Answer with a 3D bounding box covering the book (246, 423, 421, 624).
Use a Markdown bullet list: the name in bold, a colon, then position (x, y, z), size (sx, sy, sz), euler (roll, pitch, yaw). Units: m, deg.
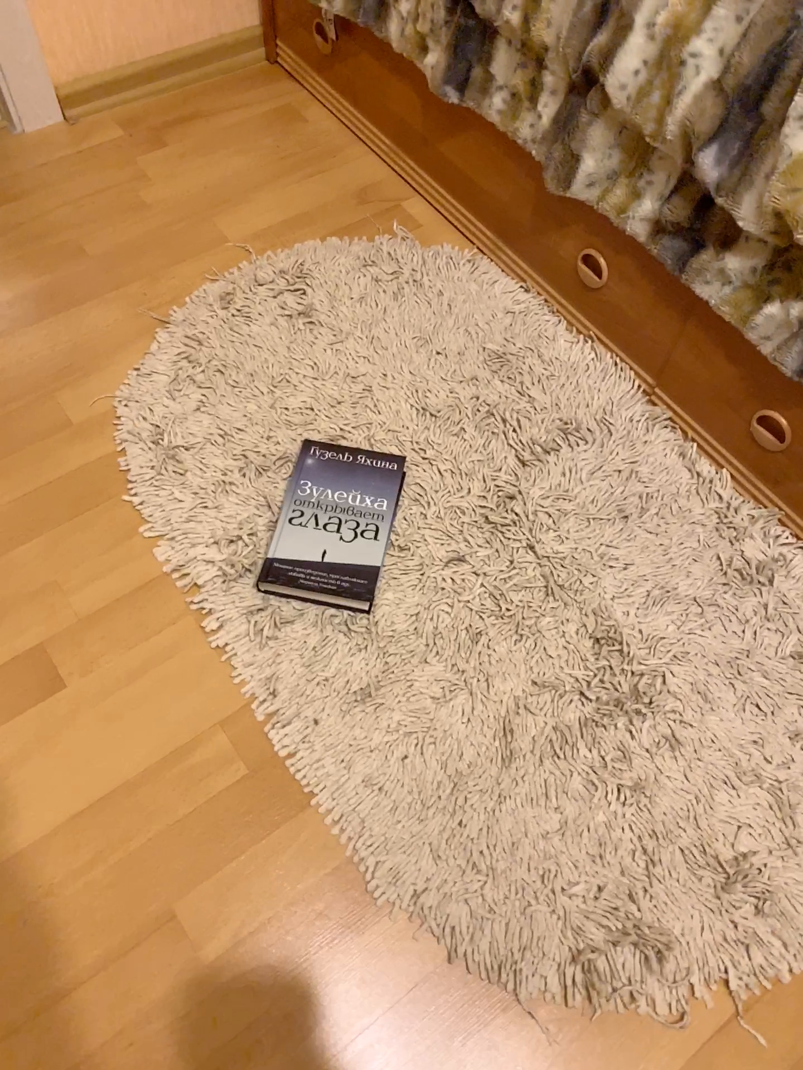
- **book**: position (-0.073, -0.019, 0.953), size (0.150, 0.040, 0.221), euler (12, 59, 3)
